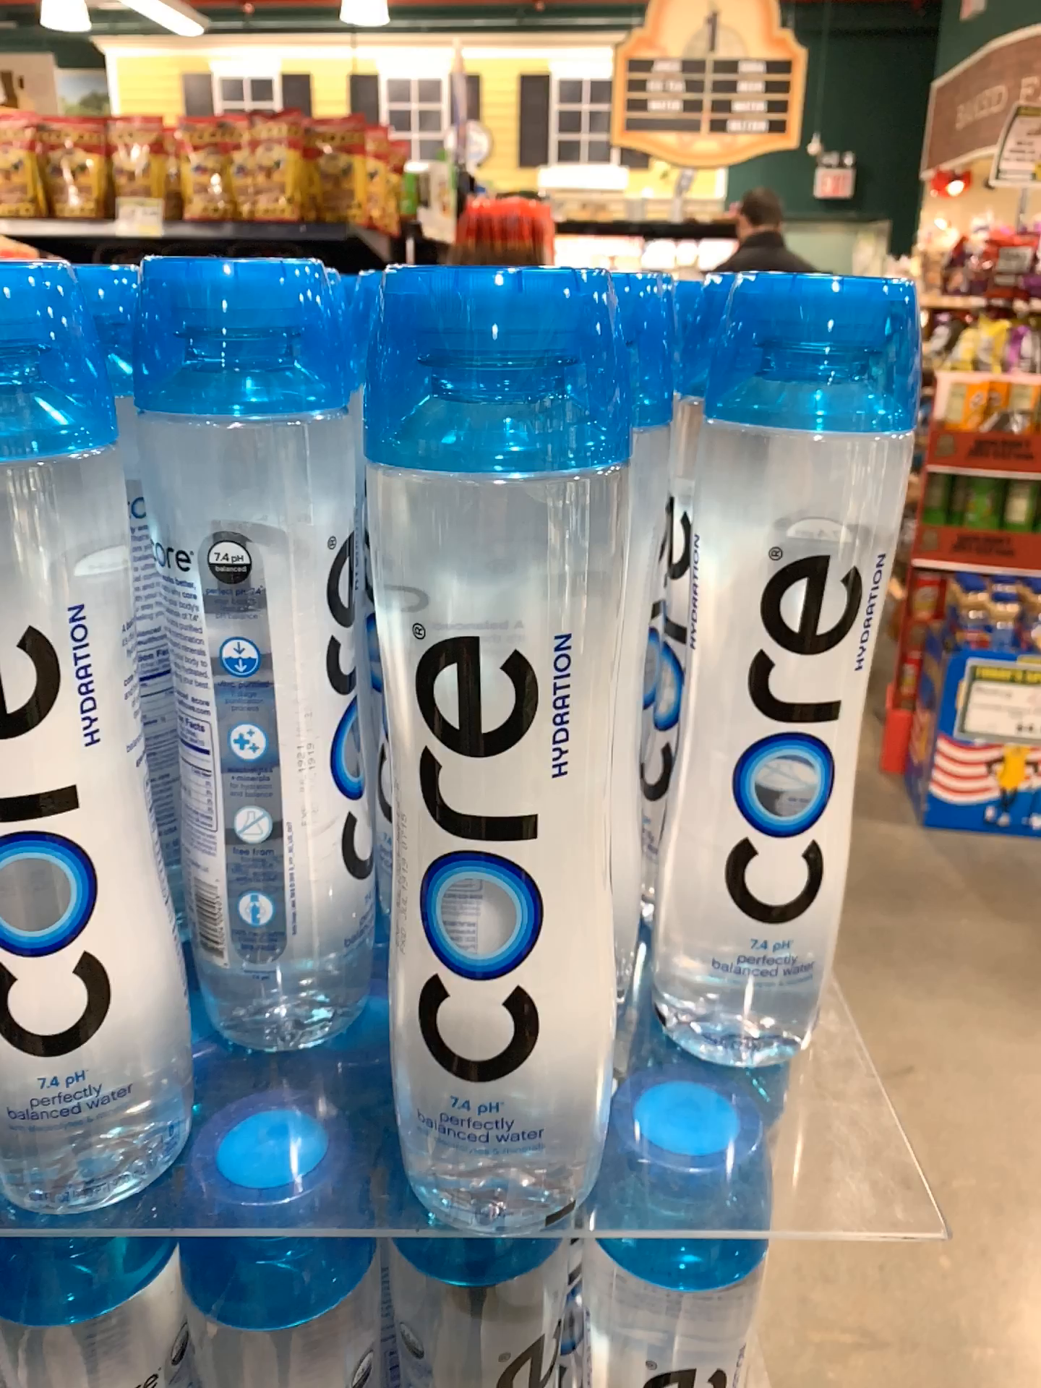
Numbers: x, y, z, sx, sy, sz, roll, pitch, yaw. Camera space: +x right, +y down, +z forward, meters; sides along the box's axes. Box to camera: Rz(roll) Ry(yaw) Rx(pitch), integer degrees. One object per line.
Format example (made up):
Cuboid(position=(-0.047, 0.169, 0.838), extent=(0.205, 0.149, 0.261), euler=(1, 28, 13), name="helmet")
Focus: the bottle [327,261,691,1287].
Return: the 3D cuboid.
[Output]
Cuboid(position=(0.001, 0.026, 0.325), extent=(0.080, 0.289, 0.090), euler=(3, 20, 7), name="bottle")
